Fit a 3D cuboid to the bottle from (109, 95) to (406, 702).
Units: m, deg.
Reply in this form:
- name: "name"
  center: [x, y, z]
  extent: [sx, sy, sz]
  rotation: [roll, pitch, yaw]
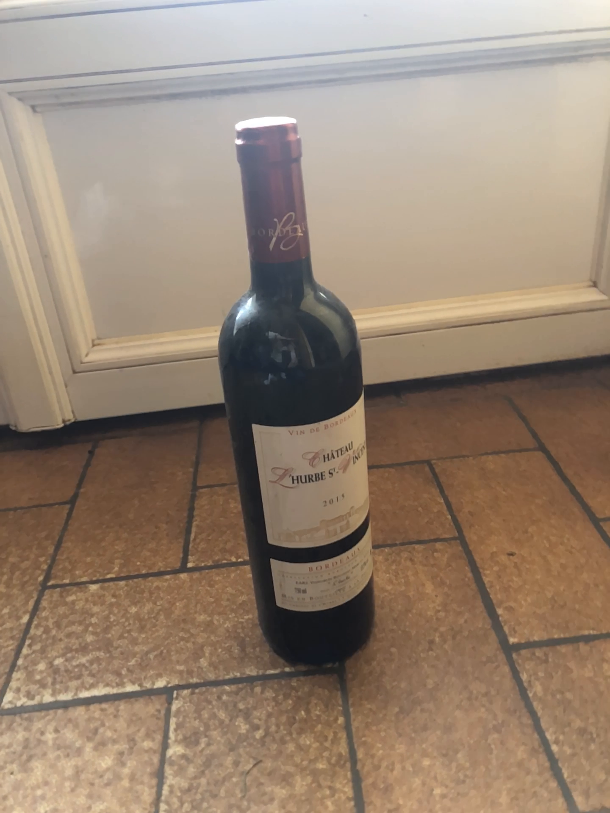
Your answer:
- name: "bottle"
  center: [-0.013, 0.003, 0.349]
  extent: [0.090, 0.288, 0.090]
  rotation: [-4, 29, 2]
